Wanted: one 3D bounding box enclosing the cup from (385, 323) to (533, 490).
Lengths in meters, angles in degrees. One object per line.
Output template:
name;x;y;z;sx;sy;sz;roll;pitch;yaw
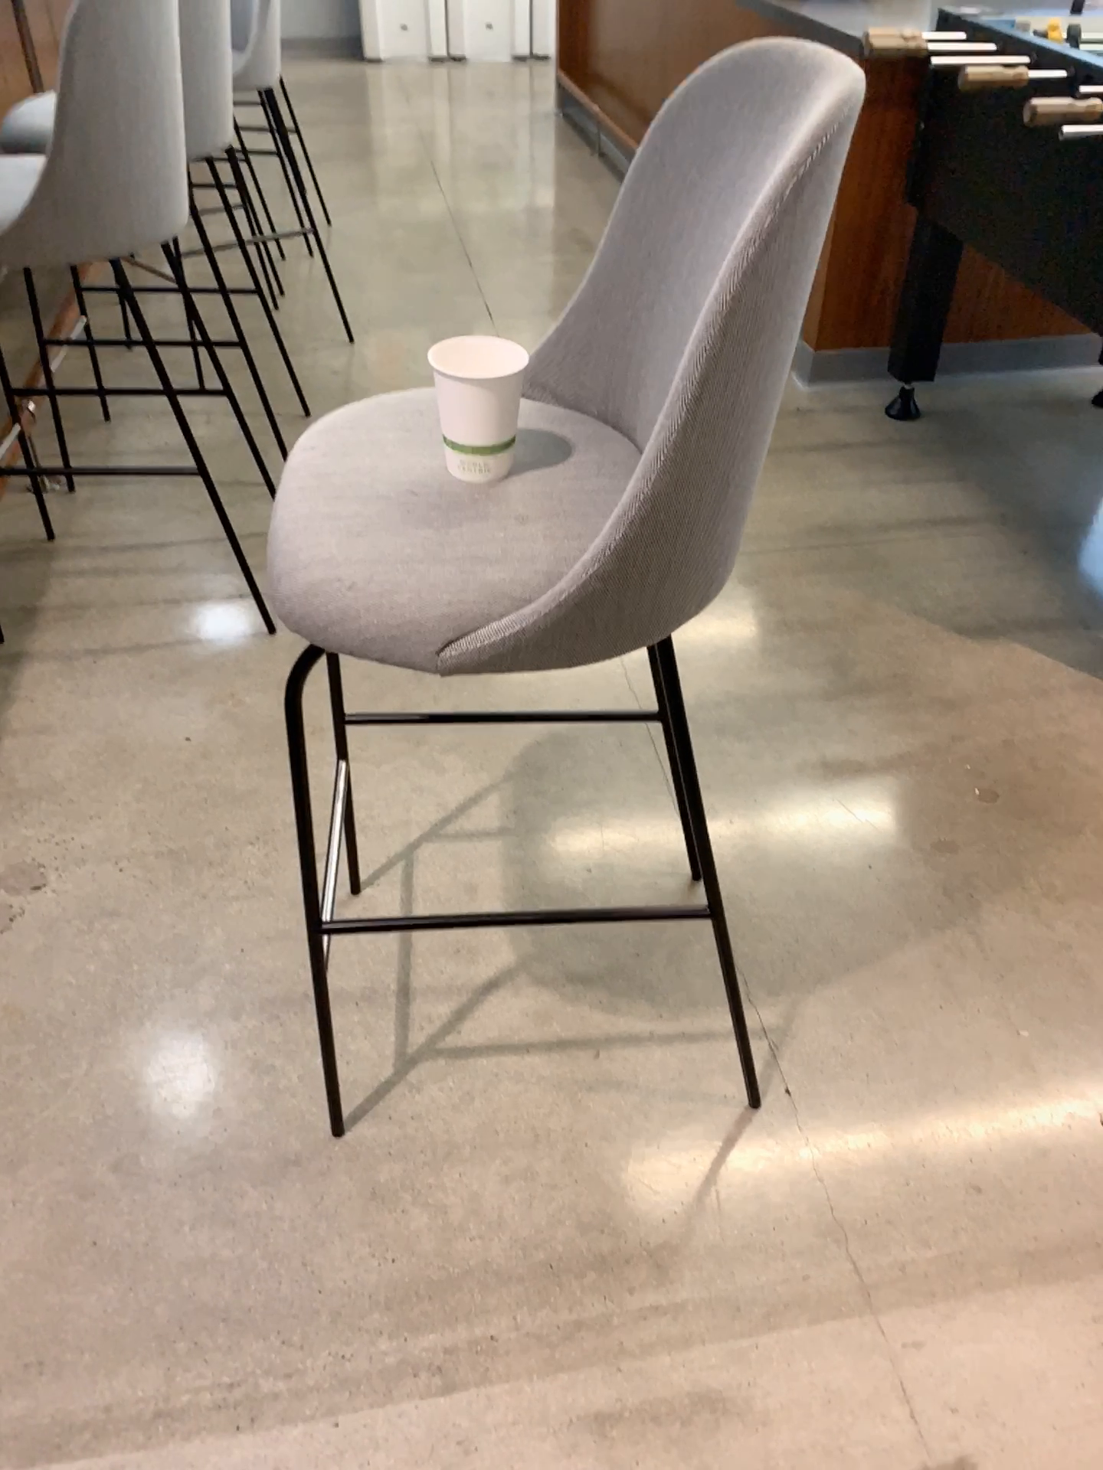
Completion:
cup;-0.079;-0.289;0.985;0.090;0.099;0.090;0;39;0
